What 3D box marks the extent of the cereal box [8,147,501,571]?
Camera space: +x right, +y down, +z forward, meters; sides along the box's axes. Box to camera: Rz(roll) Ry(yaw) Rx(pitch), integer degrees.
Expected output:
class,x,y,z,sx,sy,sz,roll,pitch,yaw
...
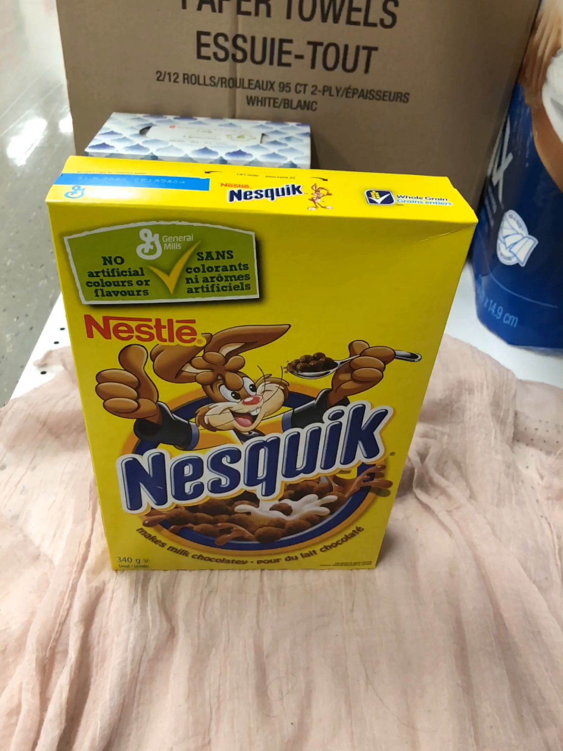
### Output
class,x,y,z,sx,sy,sz,roll,pitch,yaw
cereal box,-0.017,0.013,0.361,0.200,0.259,0.060,2,41,-4
